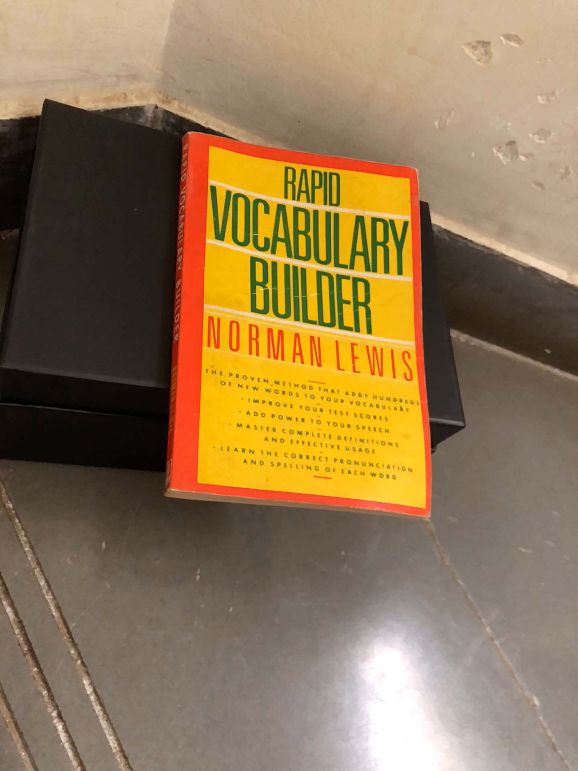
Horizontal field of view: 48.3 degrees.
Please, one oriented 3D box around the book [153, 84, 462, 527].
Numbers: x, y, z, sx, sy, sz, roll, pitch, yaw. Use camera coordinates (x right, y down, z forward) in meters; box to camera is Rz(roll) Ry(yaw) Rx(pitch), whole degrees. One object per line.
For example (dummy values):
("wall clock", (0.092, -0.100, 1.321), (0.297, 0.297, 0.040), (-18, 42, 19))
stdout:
("book", (0.011, -0.048, 0.344), (0.140, 0.030, 0.230), (10, 61, -20))
